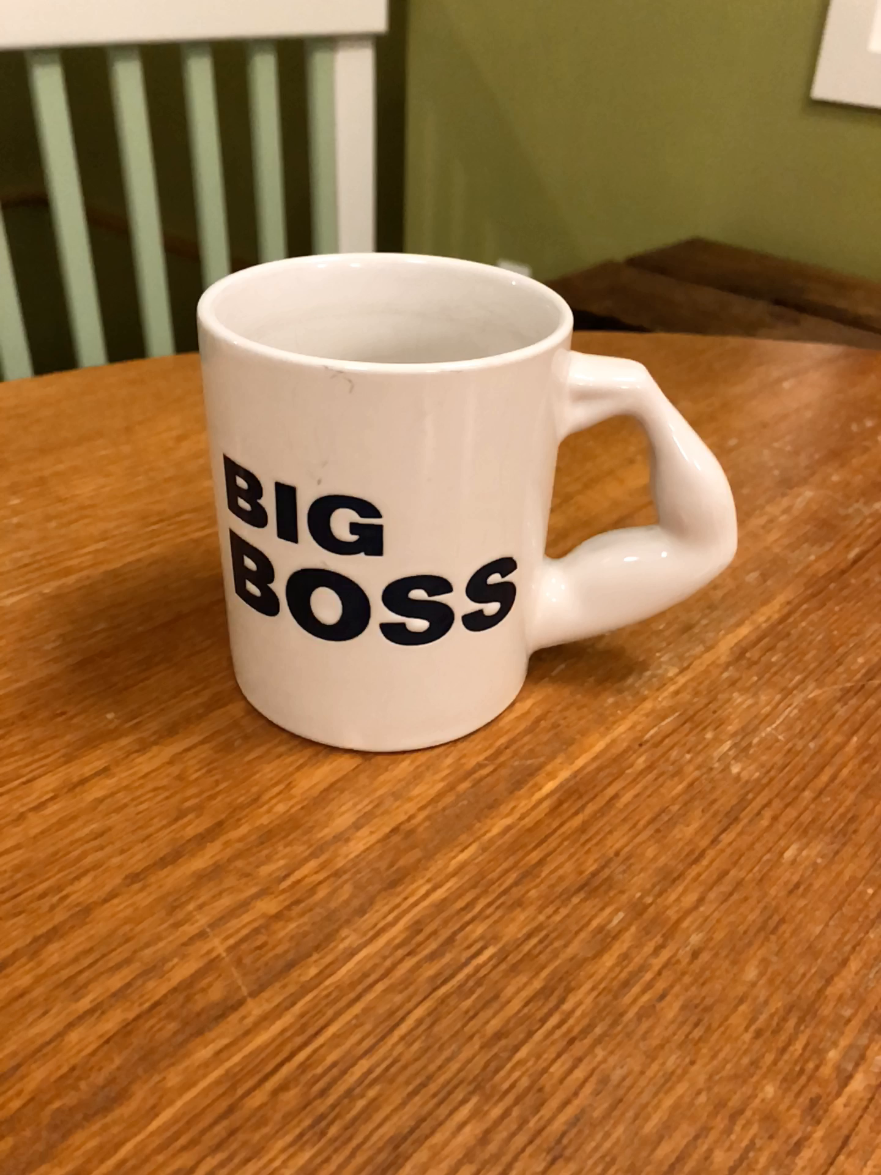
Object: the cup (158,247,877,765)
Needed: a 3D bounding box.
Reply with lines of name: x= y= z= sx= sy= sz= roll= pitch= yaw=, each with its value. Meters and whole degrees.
cup: x=0.012 y=-0.023 z=0.251 sx=0.138 sy=0.099 sz=0.088 roll=0 pitch=33 yaw=-4
